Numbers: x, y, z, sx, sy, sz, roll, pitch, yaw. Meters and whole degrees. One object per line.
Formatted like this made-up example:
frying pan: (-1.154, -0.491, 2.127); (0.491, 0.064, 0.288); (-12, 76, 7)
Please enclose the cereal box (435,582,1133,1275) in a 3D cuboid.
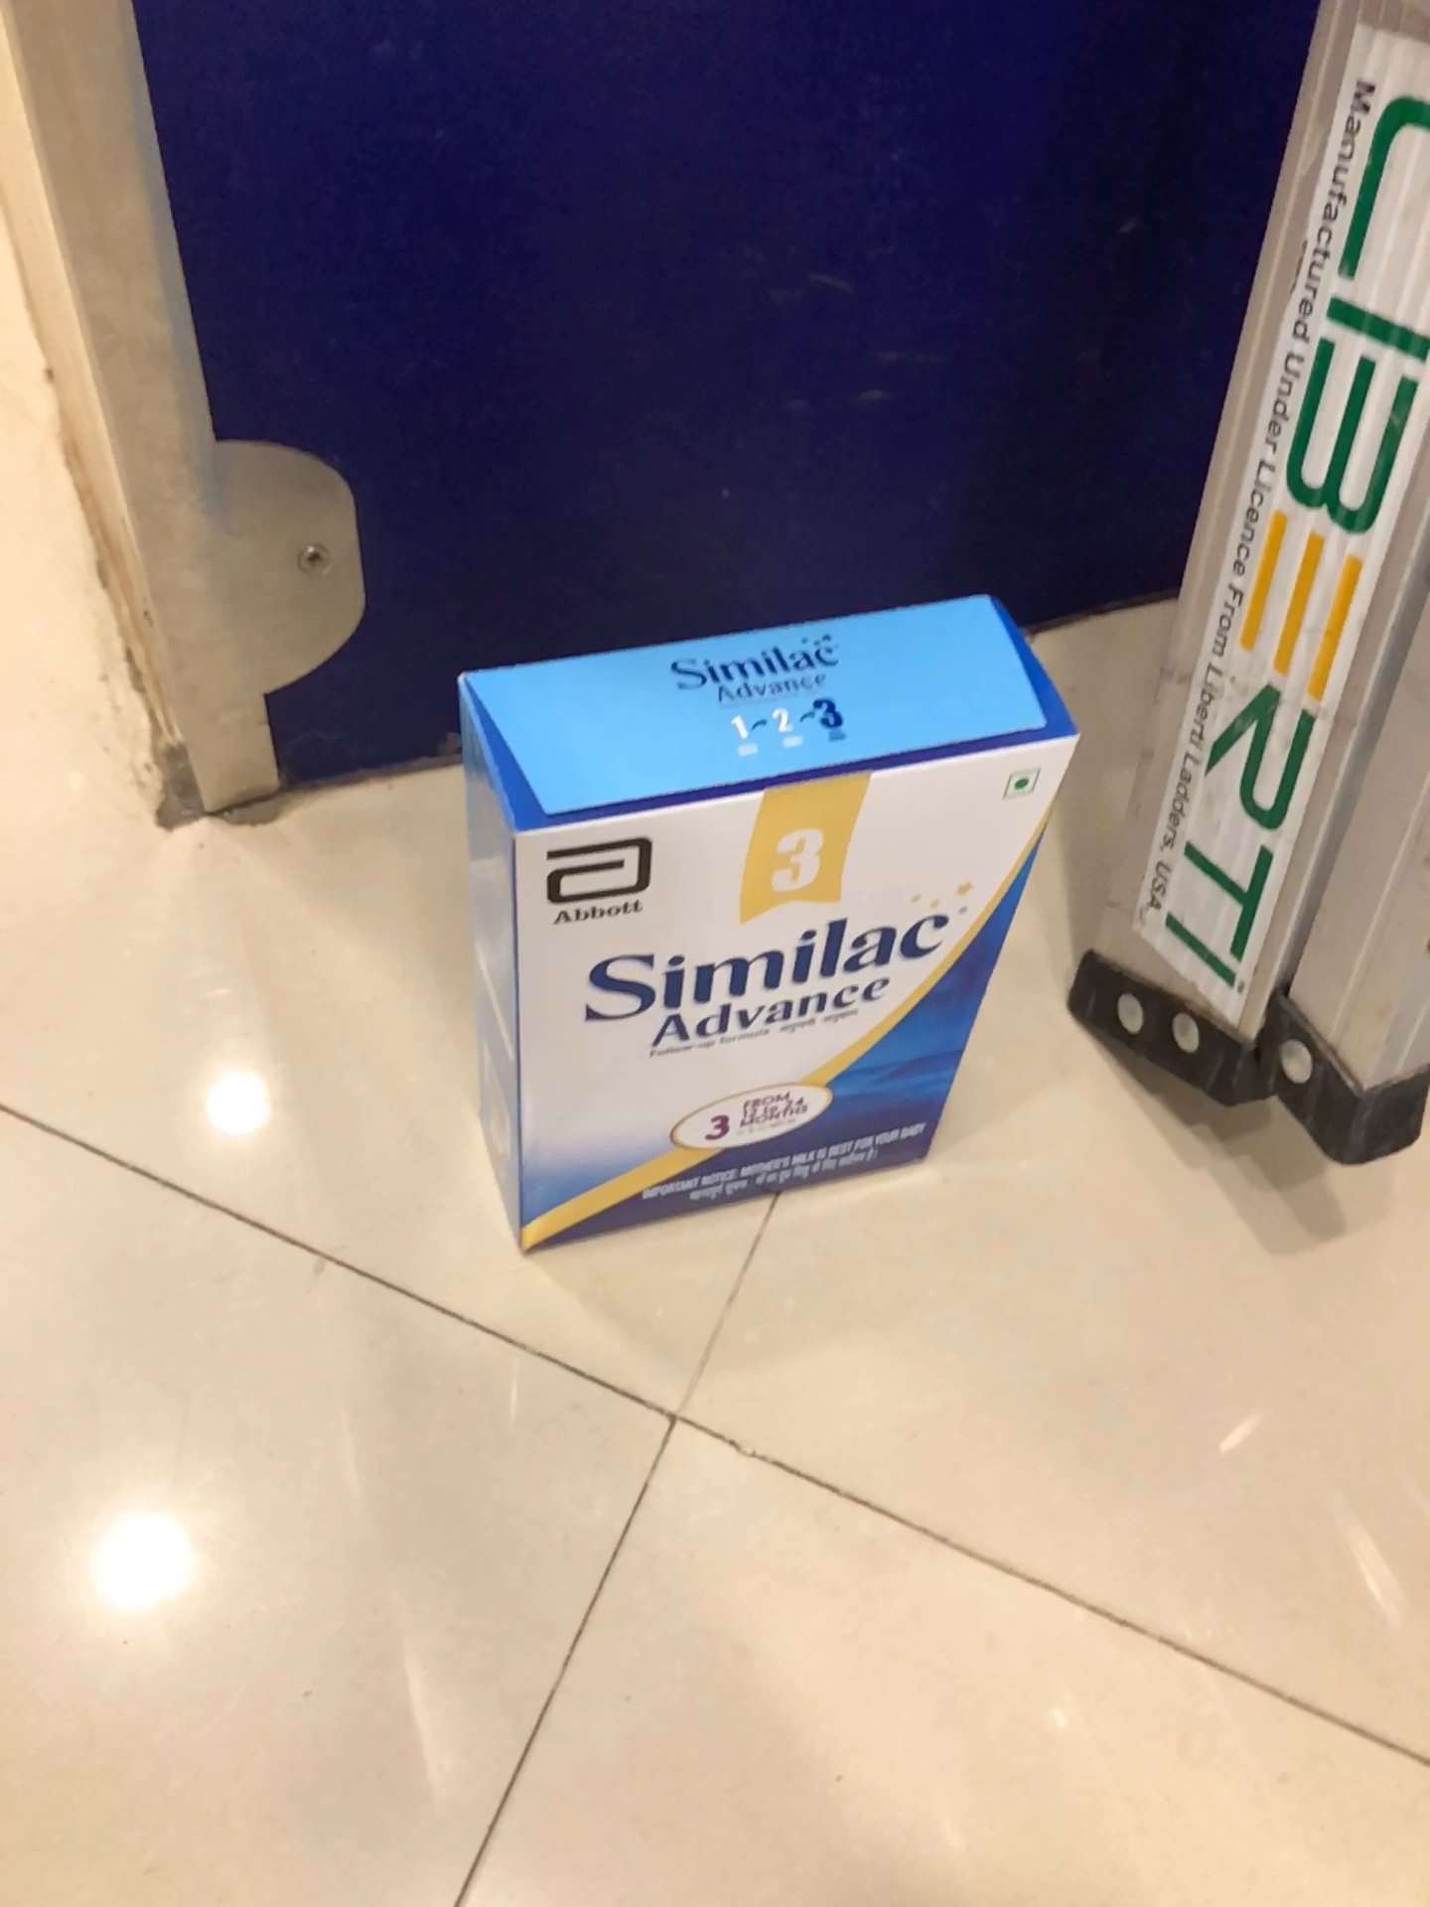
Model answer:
cereal box: (0.006, 0.004, 0.416); (0.140, 0.199, 0.050); (-11, 57, -14)
